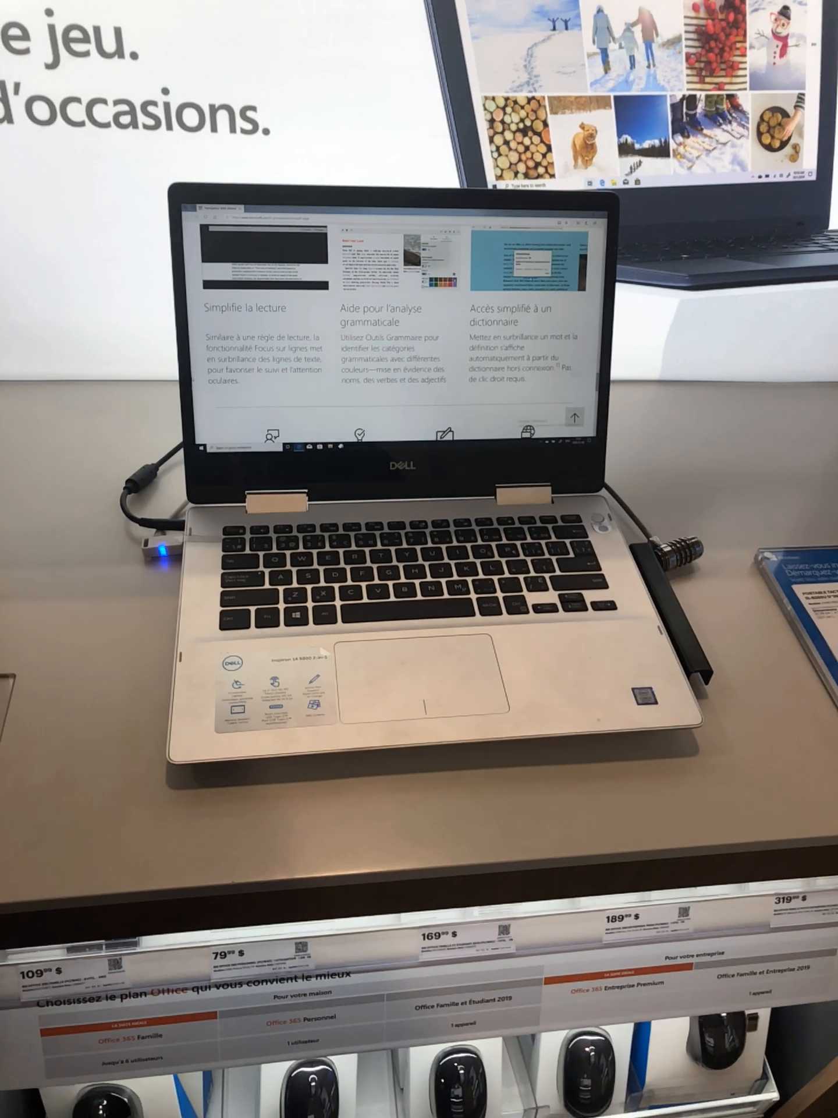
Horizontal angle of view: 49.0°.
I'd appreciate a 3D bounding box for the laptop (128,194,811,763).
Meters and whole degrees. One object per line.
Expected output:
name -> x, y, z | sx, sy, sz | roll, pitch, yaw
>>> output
laptop -> 0.001, -0.076, 0.606 | 0.316, 0.193, 0.338 | -2, 43, -8
